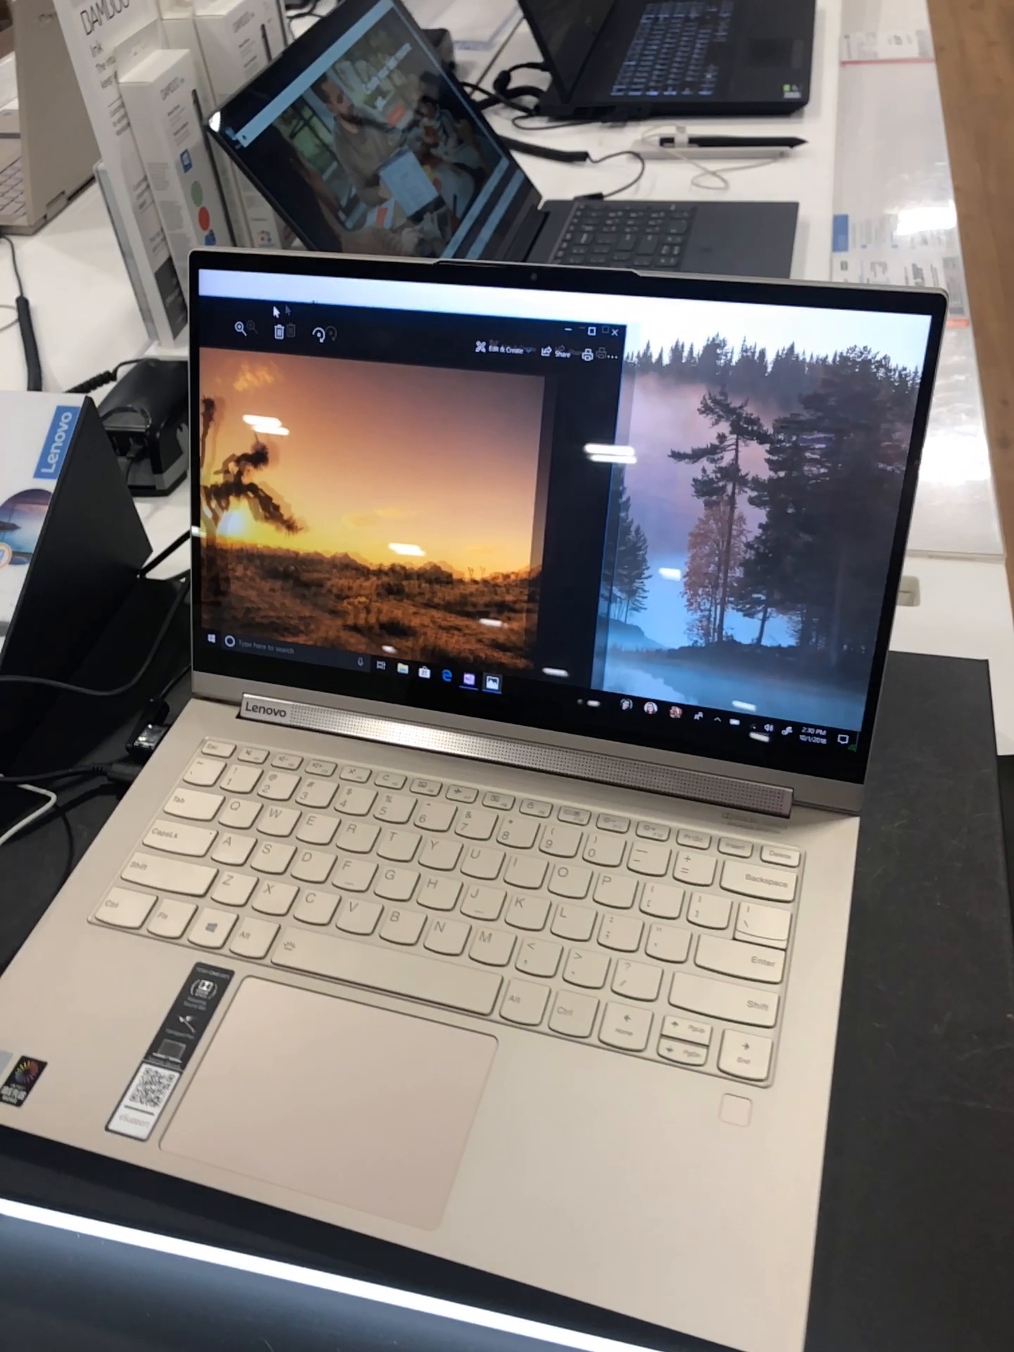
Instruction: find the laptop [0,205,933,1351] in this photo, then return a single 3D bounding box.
[{"bbox_3d":[-0.033,-0.004,0.418,0.320,0.170,0.327,9,50,16],"label":"laptop"}]
